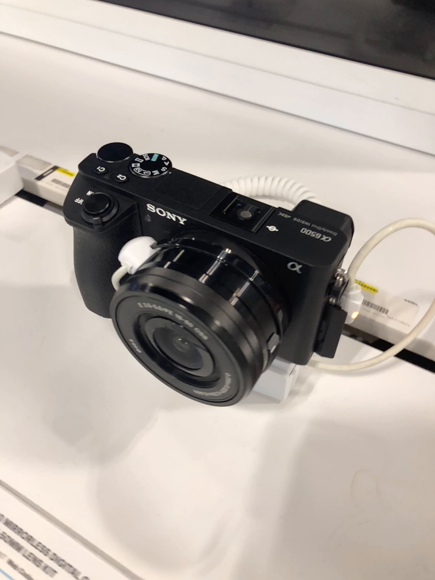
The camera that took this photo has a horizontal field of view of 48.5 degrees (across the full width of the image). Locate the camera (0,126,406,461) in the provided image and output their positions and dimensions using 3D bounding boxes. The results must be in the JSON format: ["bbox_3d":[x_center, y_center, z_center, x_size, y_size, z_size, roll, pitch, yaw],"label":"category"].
[{"bbox_3d":[-0.008,-0.004,0.208,0.140,0.070,0.070,23,50,17],"label":"camera"}]
